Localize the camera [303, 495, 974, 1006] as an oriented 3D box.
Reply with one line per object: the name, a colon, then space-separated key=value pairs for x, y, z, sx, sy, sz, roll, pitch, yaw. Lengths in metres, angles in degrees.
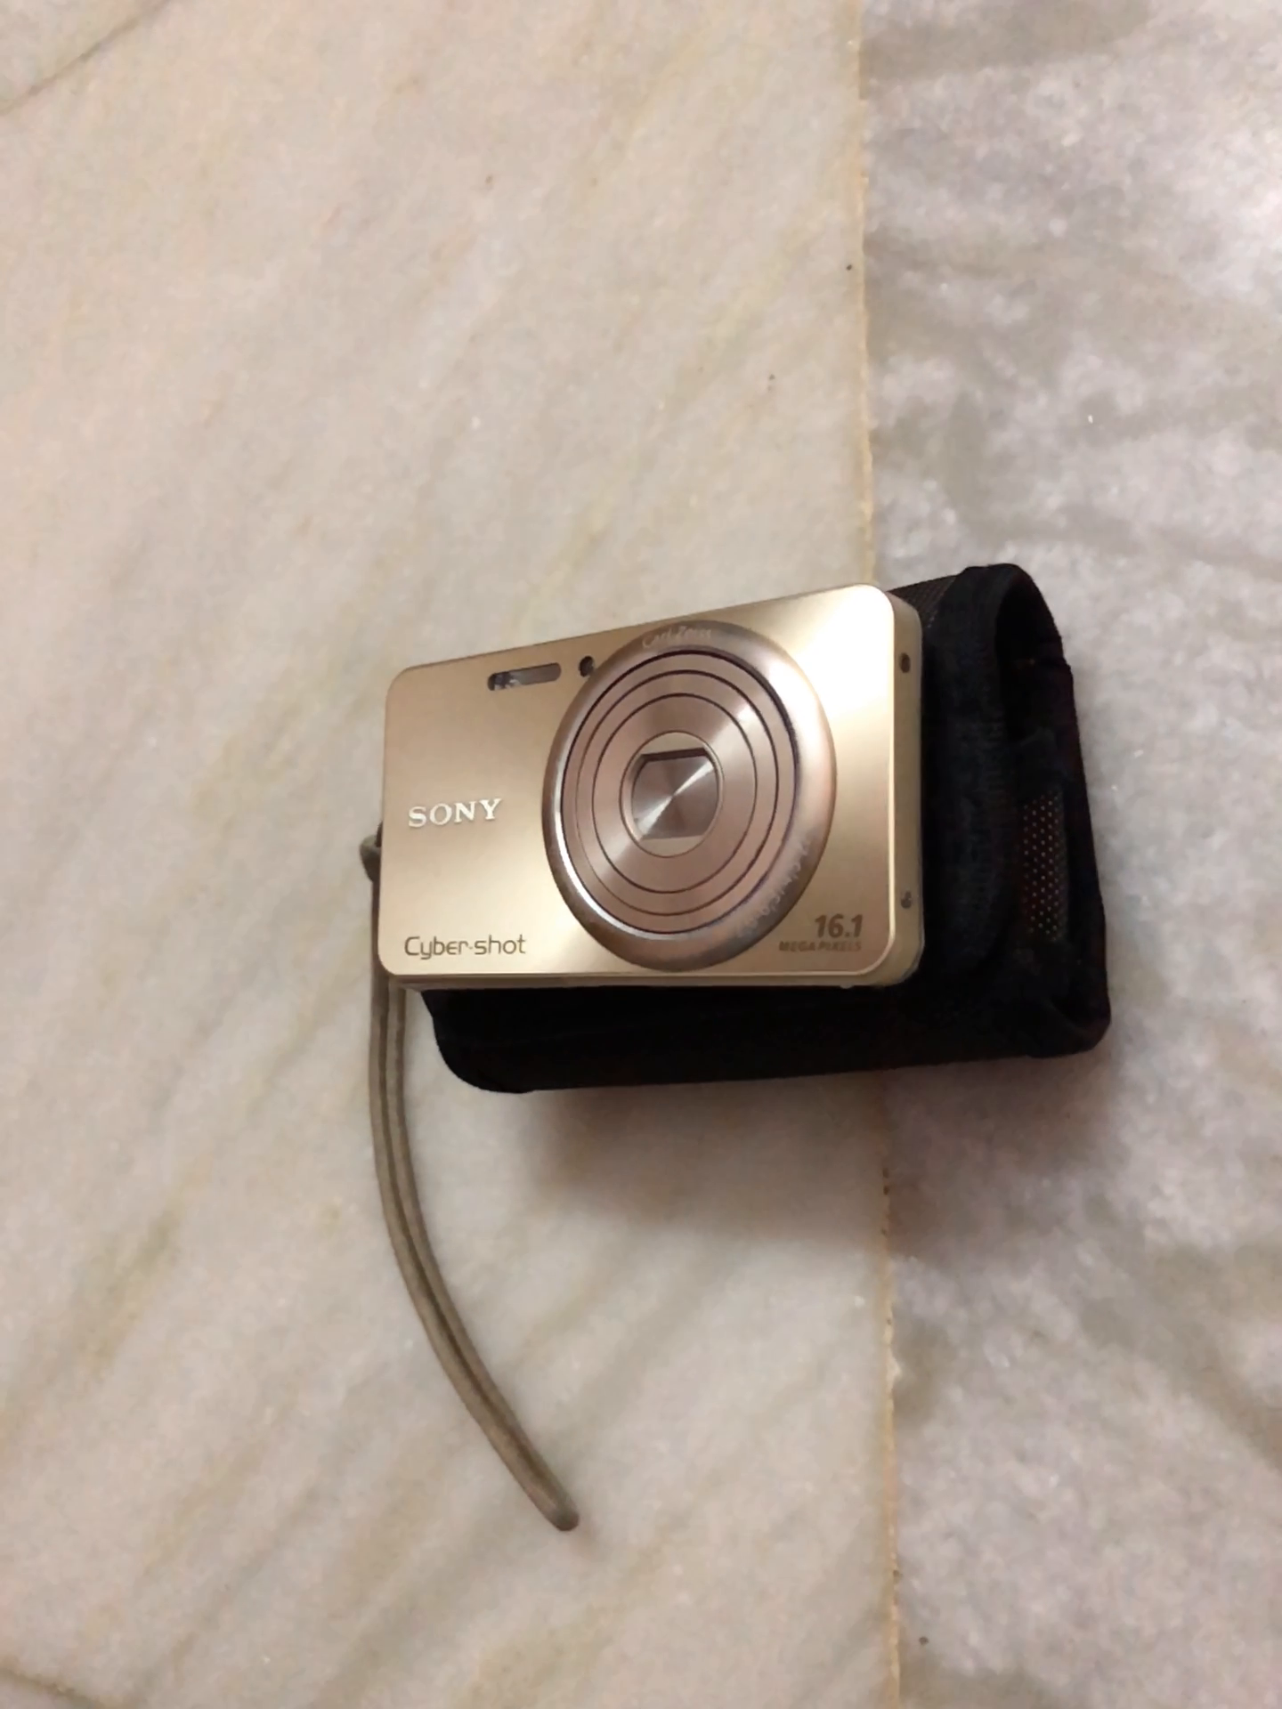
camera: x=-0.004 y=-0.009 z=0.205 sx=0.100 sy=0.020 sz=0.060 roll=-5 pitch=79 yaw=34
